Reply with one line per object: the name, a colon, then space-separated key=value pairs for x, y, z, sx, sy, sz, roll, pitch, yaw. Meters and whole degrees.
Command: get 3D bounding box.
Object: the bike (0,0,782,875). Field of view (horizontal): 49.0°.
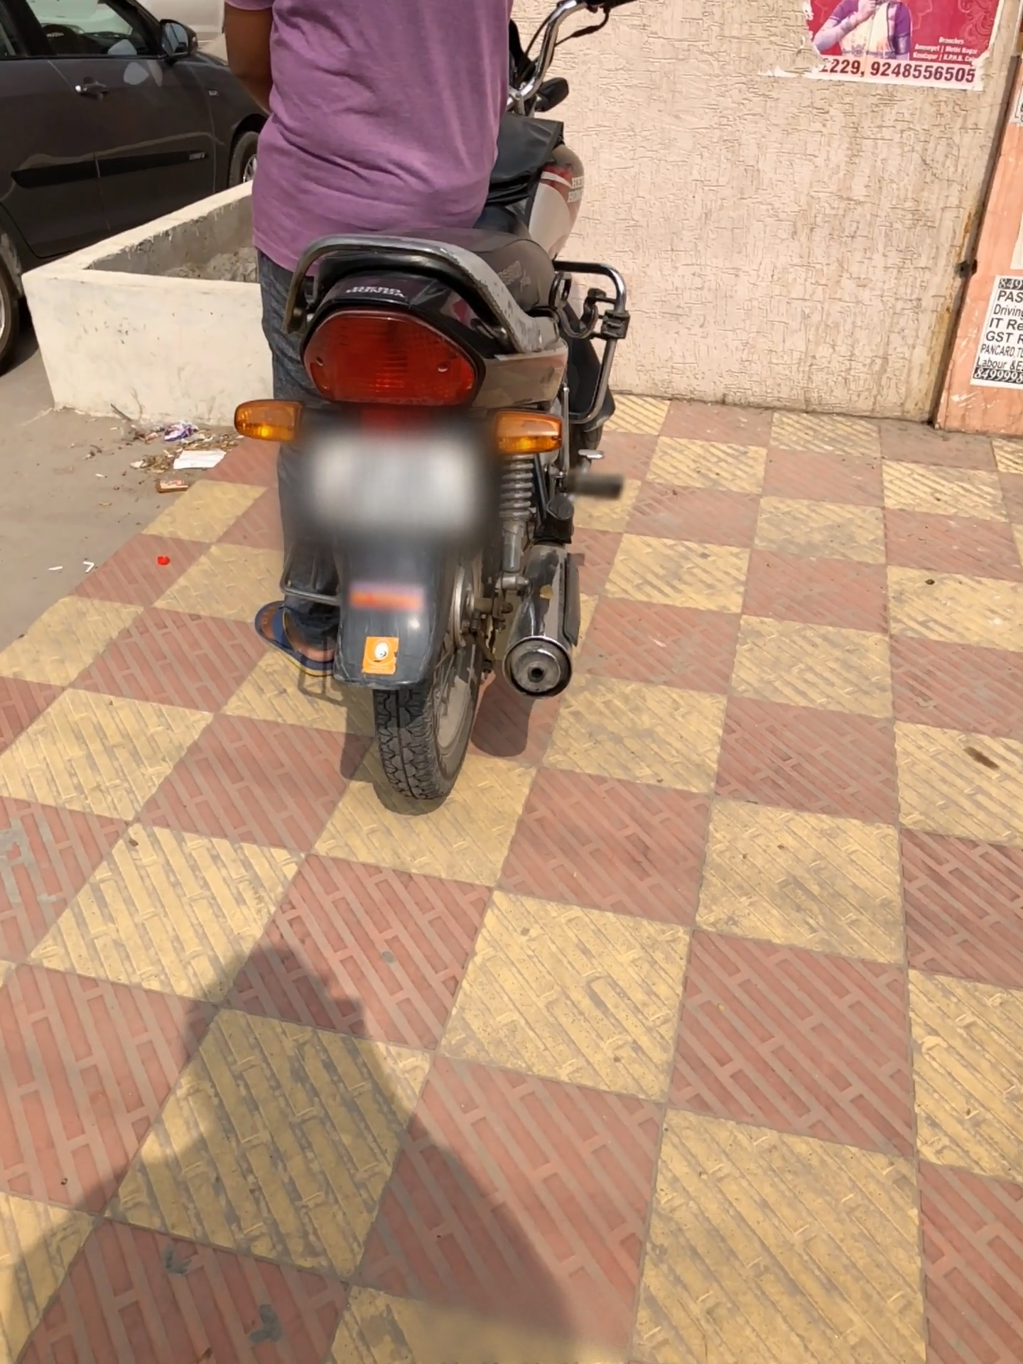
bike: x=-0.237 y=-0.672 z=2.112 sx=0.891 sy=1.066 sz=1.733 roll=0 pitch=35 yaw=-2
